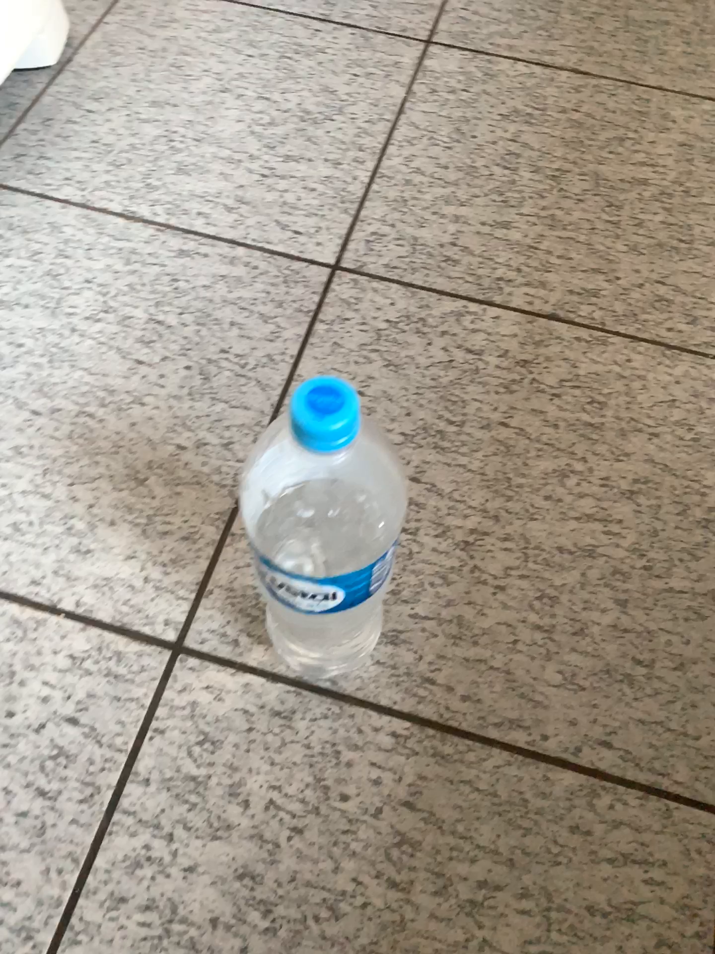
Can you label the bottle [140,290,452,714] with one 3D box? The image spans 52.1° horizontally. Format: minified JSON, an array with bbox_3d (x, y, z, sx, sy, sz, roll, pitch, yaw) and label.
[{"bbox_3d":[-0.027,0.044,0.426,0.090,0.299,0.090,1,61,-1],"label":"bottle"}]
